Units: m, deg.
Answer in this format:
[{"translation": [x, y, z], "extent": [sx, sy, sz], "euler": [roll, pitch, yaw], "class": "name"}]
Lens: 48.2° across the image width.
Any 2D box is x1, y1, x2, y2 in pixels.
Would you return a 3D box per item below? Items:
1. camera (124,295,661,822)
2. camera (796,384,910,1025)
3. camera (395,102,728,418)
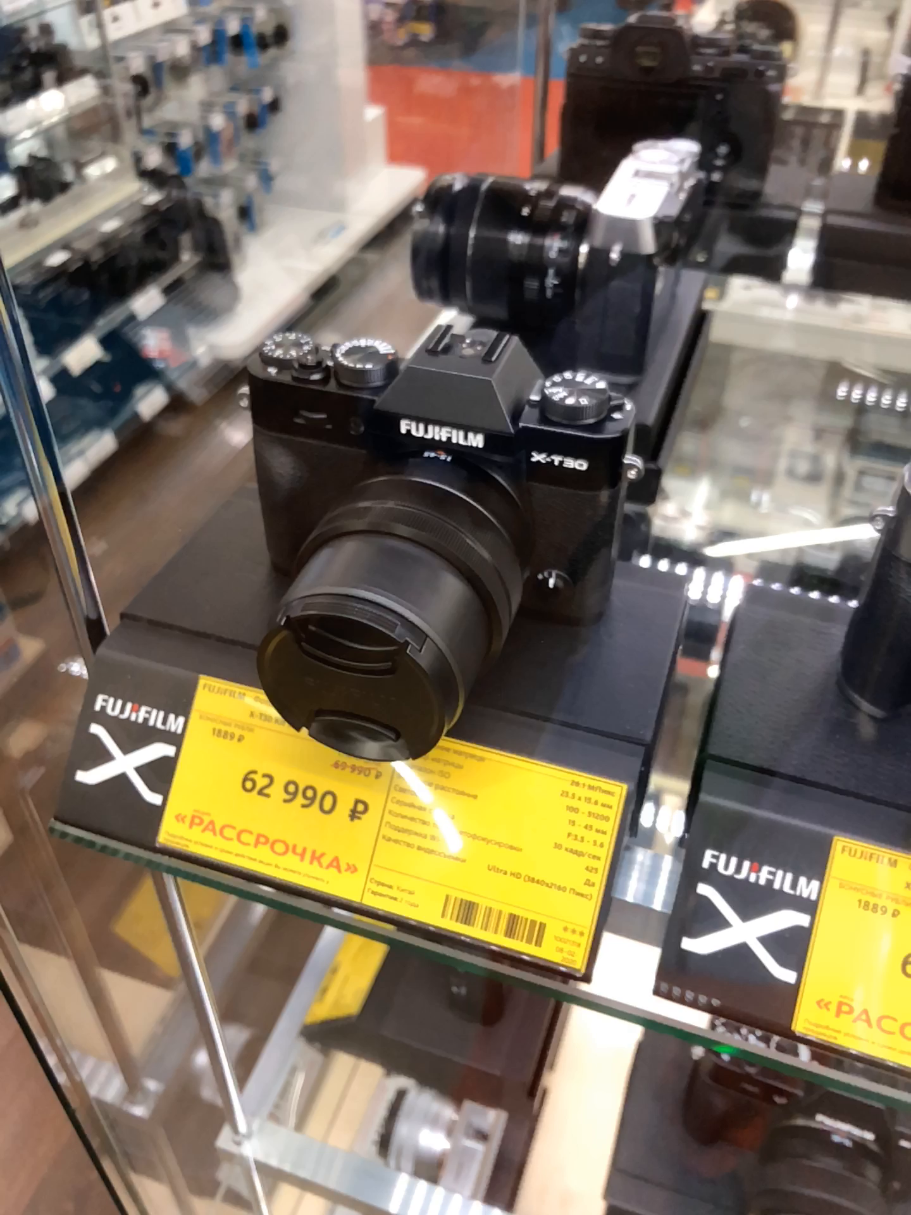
[{"translation": [-0.010, -0.021, 0.303], "extent": [0.114, 0.089, 0.111], "euler": [12, 41, 13], "class": "camera"}, {"translation": [0.157, 0.015, 0.251], "extent": [0.114, 0.078, 0.109], "euler": [14, 41, 15], "class": "camera"}, {"translation": [0.050, -0.164, 0.468], "extent": [0.120, 0.089, 0.114], "euler": [13, 41, 13], "class": "camera"}]
